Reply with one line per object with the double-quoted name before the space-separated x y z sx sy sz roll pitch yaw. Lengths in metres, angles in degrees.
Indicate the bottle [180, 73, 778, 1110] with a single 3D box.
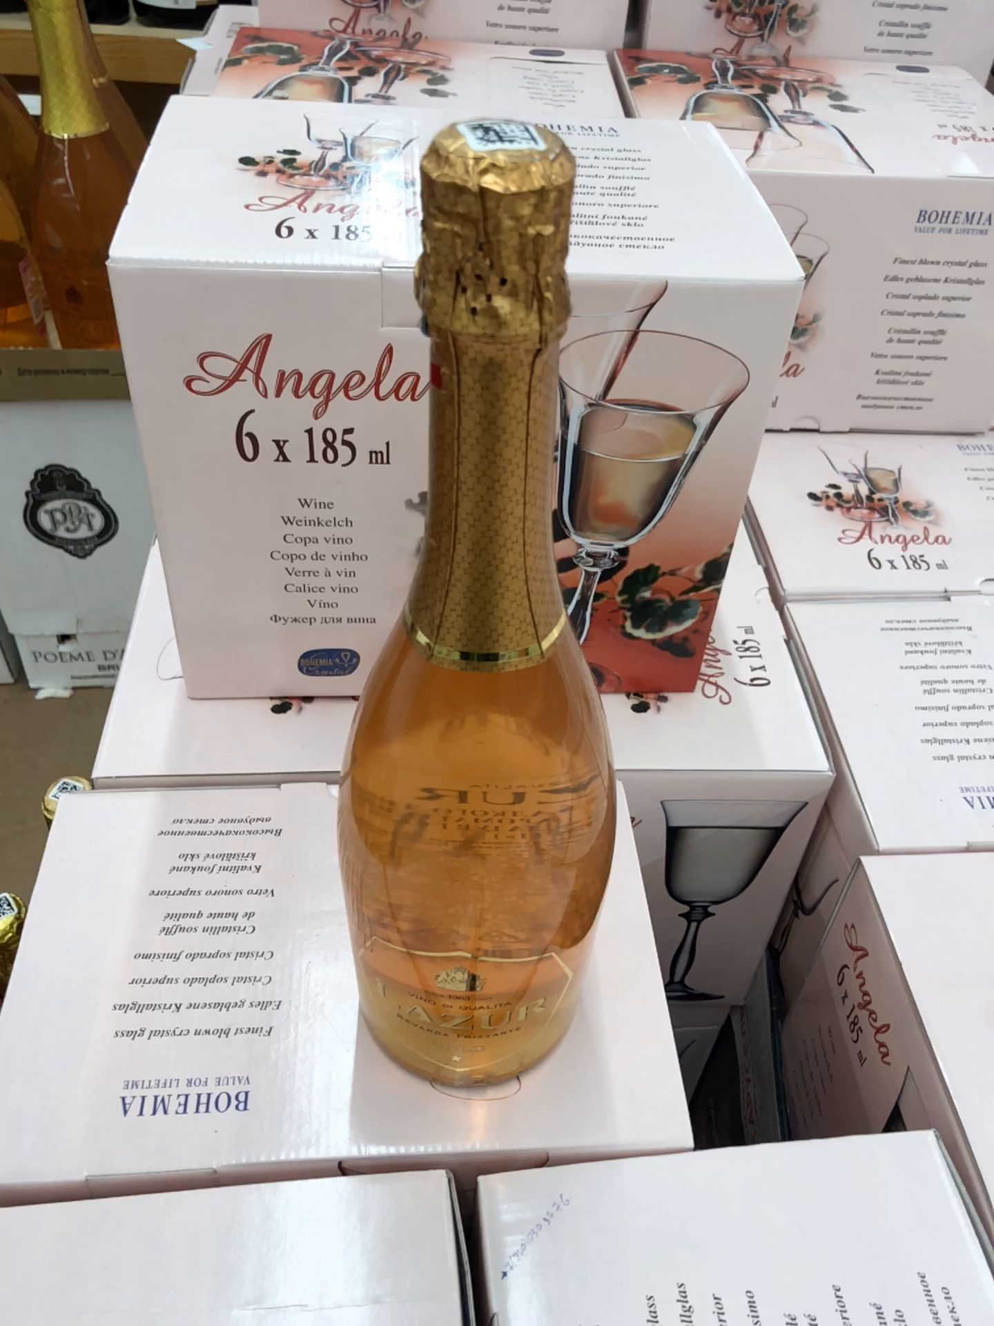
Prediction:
"bottle" -0.006 0.011 0.317 0.100 0.298 0.090 8 44 4
